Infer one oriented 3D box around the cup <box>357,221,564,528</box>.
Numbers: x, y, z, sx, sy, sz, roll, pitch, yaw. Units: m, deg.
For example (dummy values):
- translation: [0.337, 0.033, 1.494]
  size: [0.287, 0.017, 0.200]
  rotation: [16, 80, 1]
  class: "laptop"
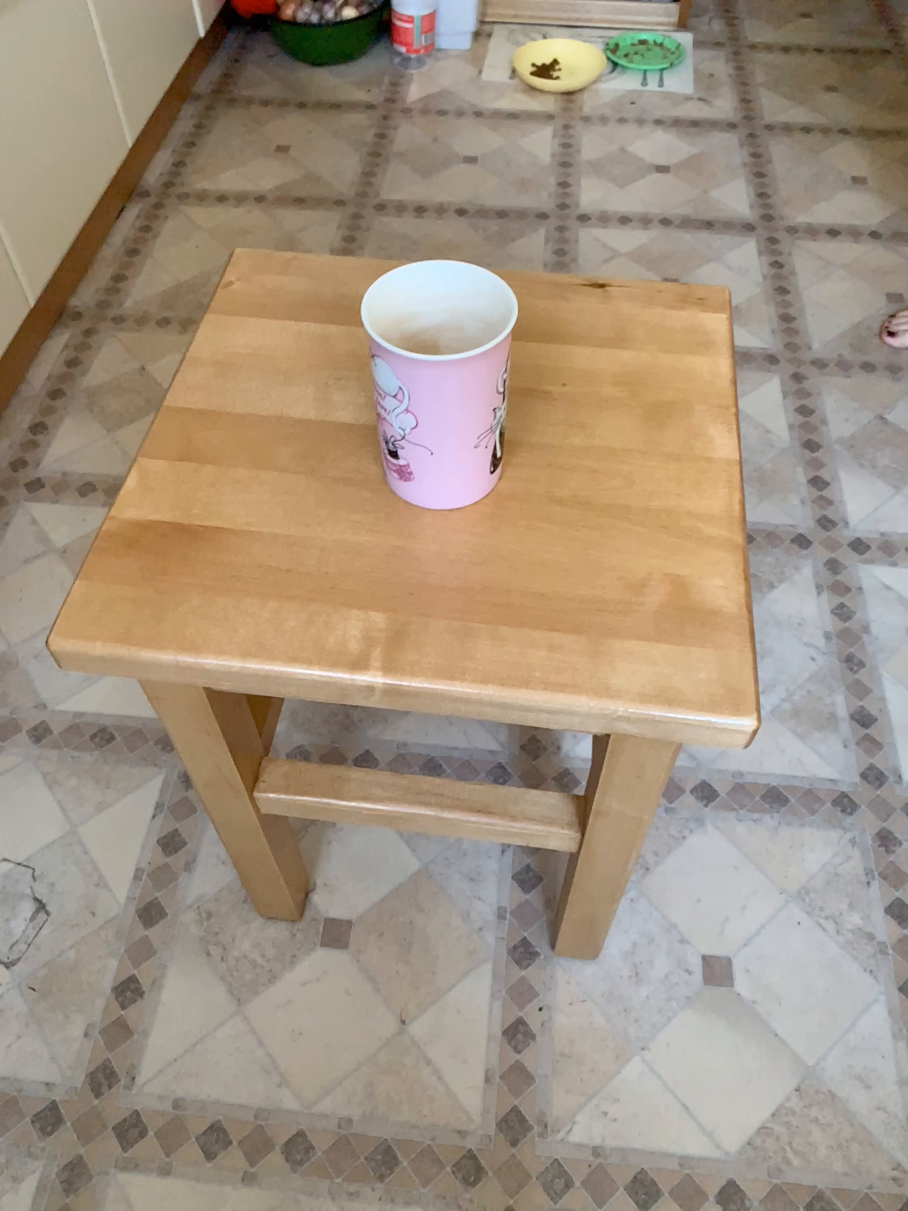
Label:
- translation: [0.000, -0.120, 0.482]
  size: [0.080, 0.099, 0.111]
  rotation: [-8, 53, -6]
  class: "cup"
